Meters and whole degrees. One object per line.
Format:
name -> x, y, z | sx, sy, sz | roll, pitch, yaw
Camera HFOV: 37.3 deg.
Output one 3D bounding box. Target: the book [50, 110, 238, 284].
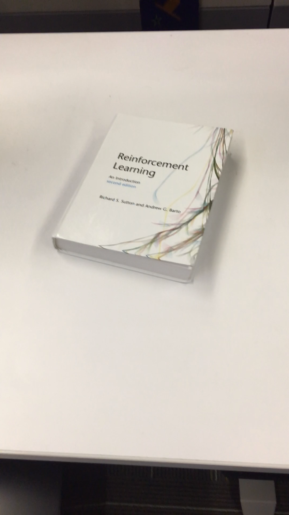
book -> 0.009, -0.095, 0.572 | 0.180, 0.030, 0.240 | 14, 58, 12
